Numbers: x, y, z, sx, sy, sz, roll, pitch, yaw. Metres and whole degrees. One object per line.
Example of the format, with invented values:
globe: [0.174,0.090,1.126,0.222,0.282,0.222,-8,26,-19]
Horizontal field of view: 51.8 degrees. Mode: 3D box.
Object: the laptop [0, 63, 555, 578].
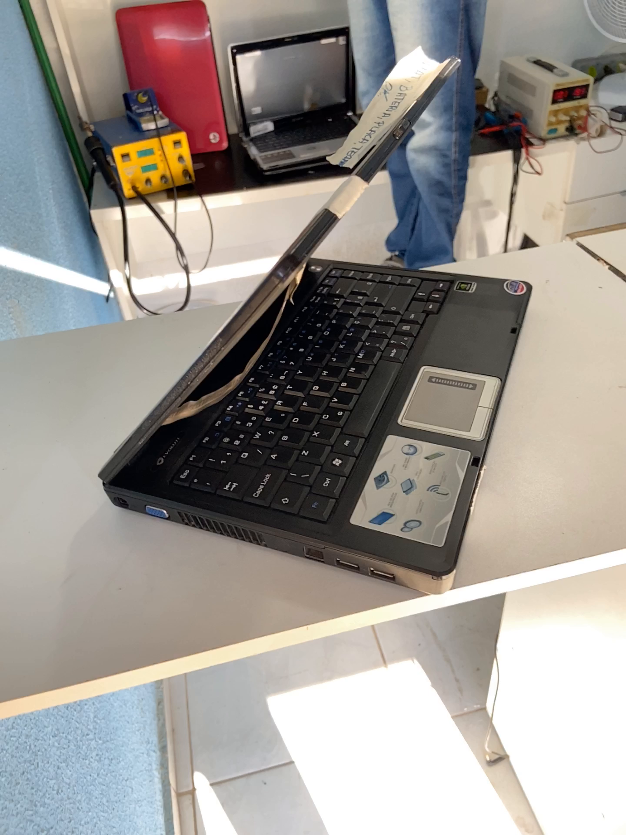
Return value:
laptop: [0.018,-0.104,0.441,0.224,0.175,0.330,10,43,20]
